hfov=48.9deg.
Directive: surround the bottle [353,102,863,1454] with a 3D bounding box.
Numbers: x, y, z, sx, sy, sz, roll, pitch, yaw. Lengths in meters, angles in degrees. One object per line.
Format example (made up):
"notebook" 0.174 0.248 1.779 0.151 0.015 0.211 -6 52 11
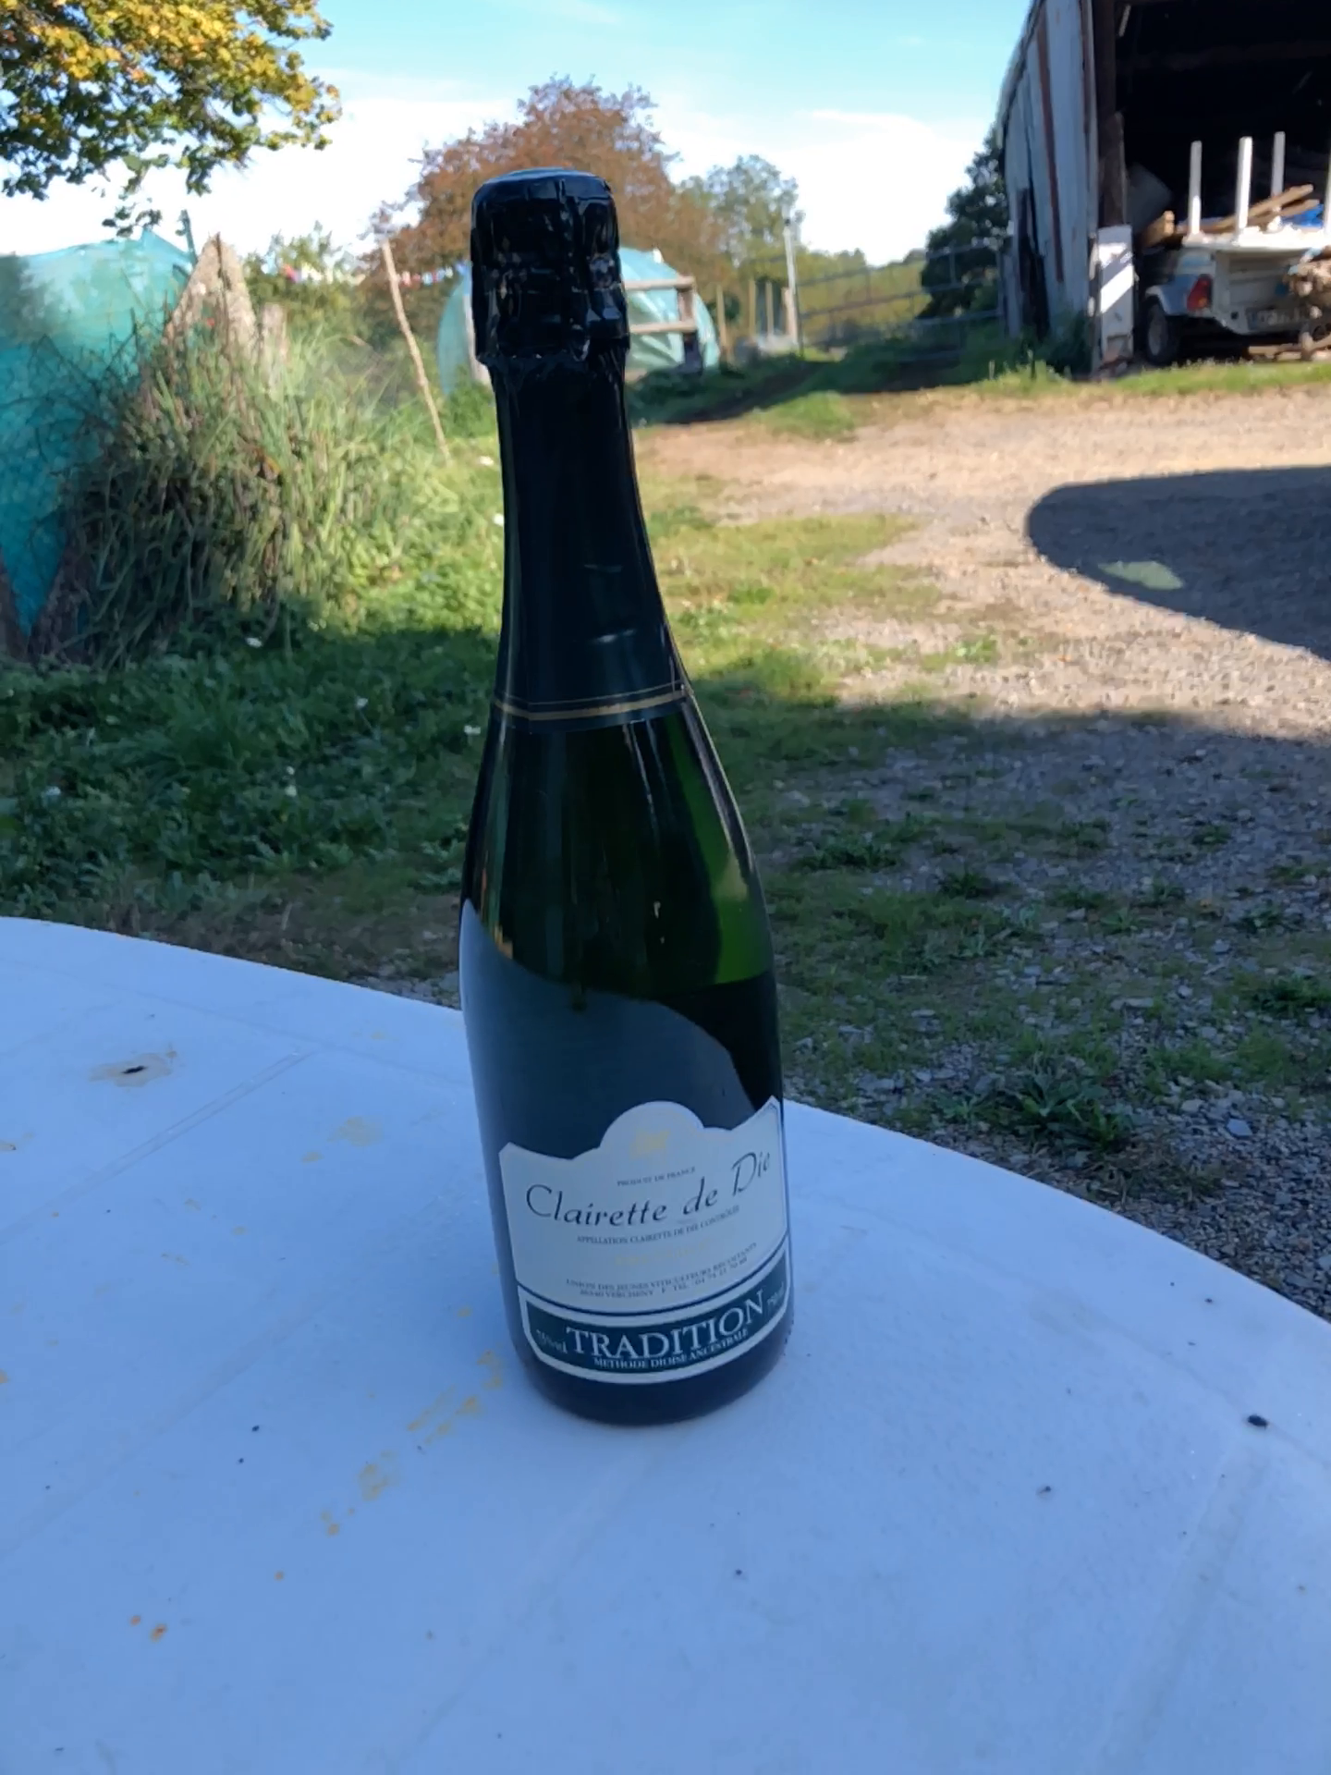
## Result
"bottle" -0.010 -0.020 0.380 0.090 0.309 0.100 -7 20 -7
